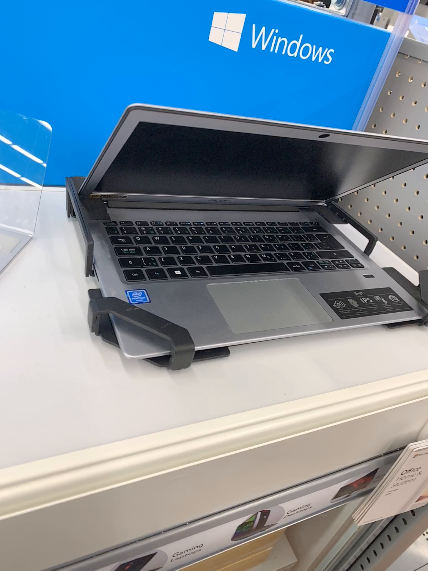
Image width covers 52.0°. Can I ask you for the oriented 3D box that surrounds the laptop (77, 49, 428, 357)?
[{"bbox_3d":[0.055,-0.080,0.399,0.308,0.140,0.198,-4,41,-26],"label":"laptop"}]
